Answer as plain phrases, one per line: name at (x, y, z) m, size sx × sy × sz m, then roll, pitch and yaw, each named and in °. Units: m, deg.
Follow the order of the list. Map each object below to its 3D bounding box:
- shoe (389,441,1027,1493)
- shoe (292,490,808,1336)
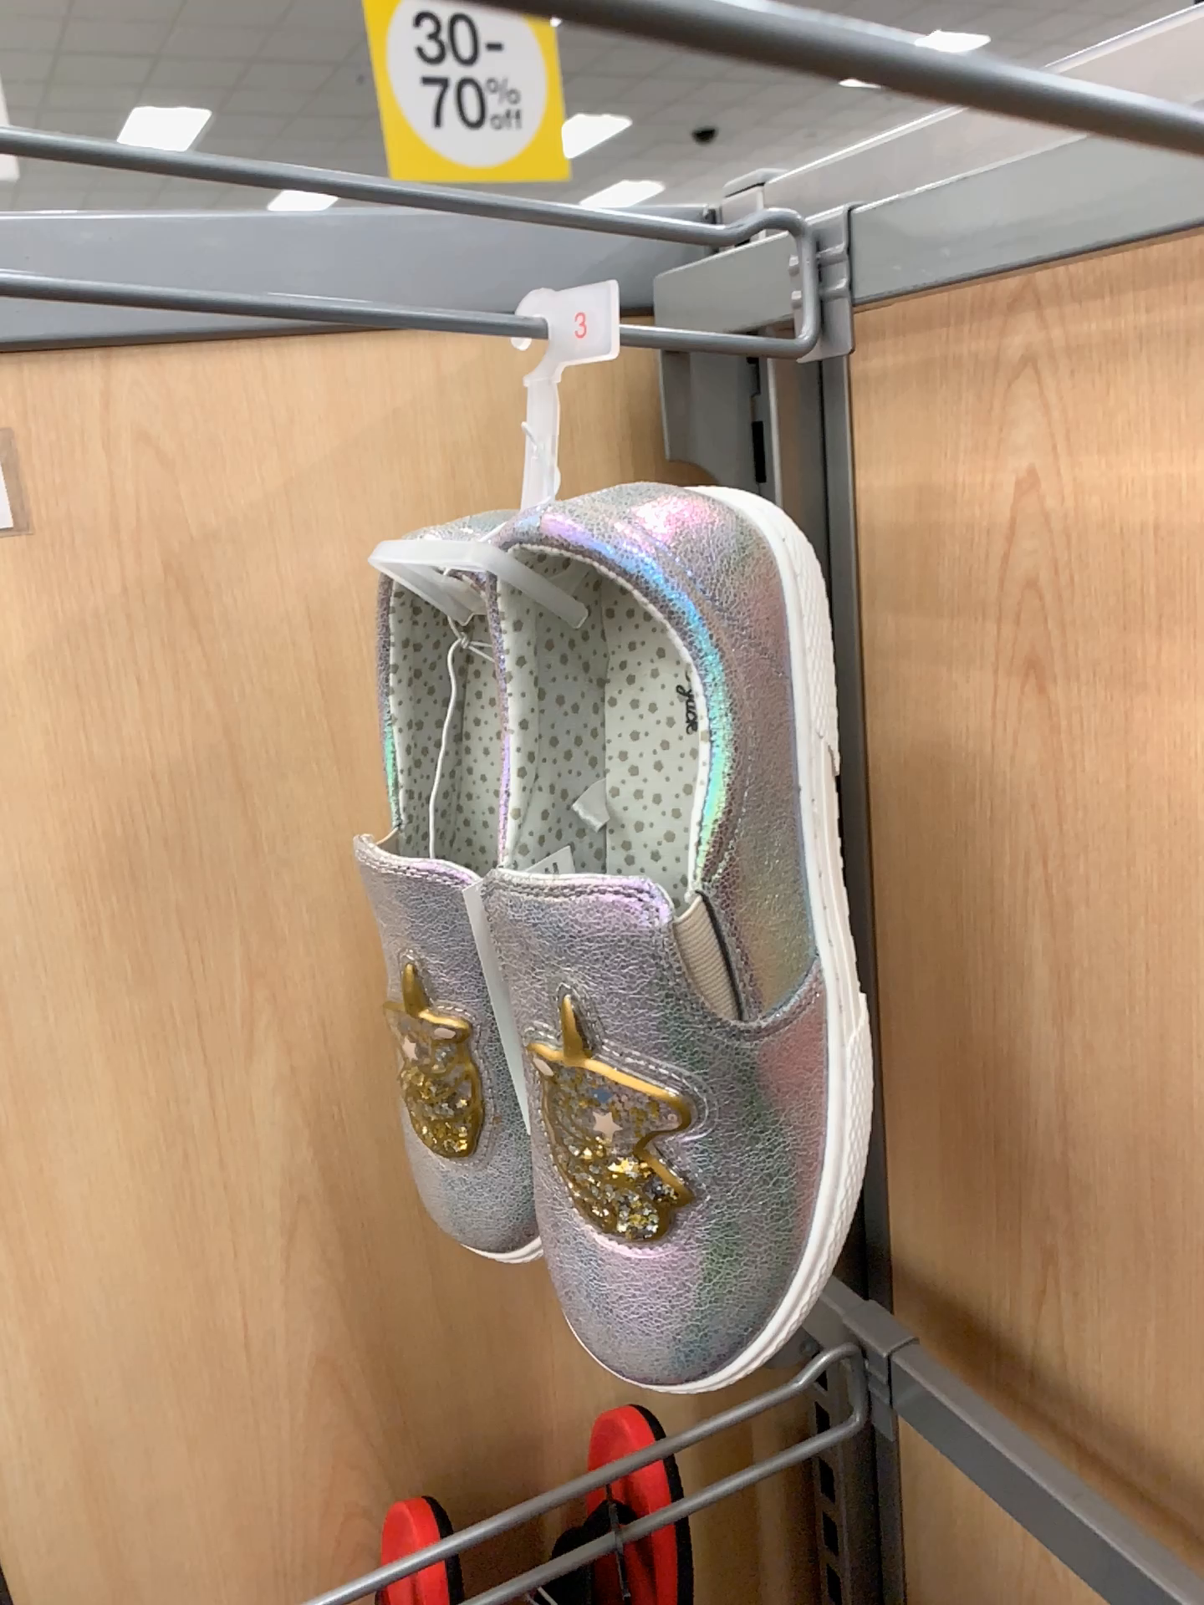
shoe at (0.027, 0.026, 0.319) m, size 0.113 × 0.221 × 0.100 m, roll -10°, pitch 15°, yaw -31°
shoe at (-0.014, 0.020, 0.386) m, size 0.113 × 0.221 × 0.100 m, roll -10°, pitch 15°, yaw -31°
